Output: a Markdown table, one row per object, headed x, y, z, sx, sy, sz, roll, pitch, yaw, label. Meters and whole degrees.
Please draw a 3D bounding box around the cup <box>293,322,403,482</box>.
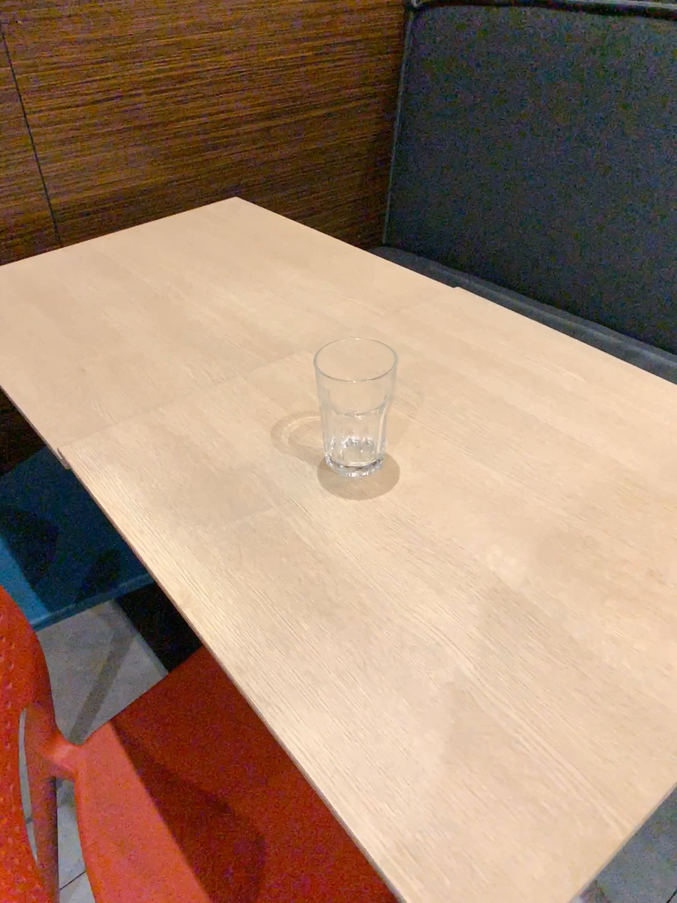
| x | y | z | sx | sy | sz | roll | pitch | yaw | label |
| --- | --- | --- | --- | --- | --- | --- | --- | --- | --- |
| 0.012 | -0.049 | 0.669 | 0.080 | 0.119 | 0.080 | -1 | 37 | 1 | cup |
